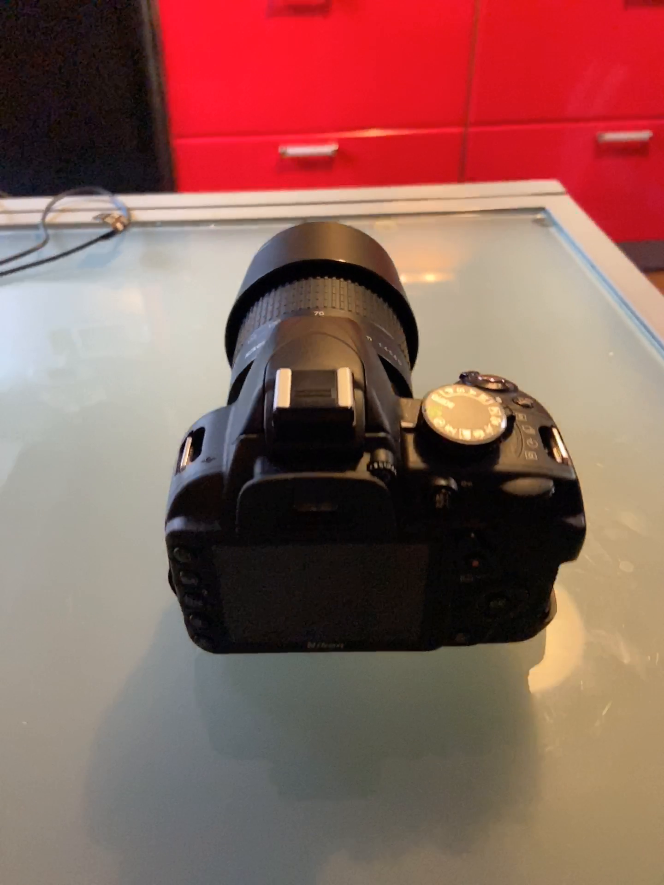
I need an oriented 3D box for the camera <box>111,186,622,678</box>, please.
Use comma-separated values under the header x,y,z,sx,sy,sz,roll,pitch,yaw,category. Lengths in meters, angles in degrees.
x,y,z,sx,sy,sz,roll,pitch,yaw,category
0.007,-0.021,0.270,0.124,0.094,0.189,-2,38,-1,camera
